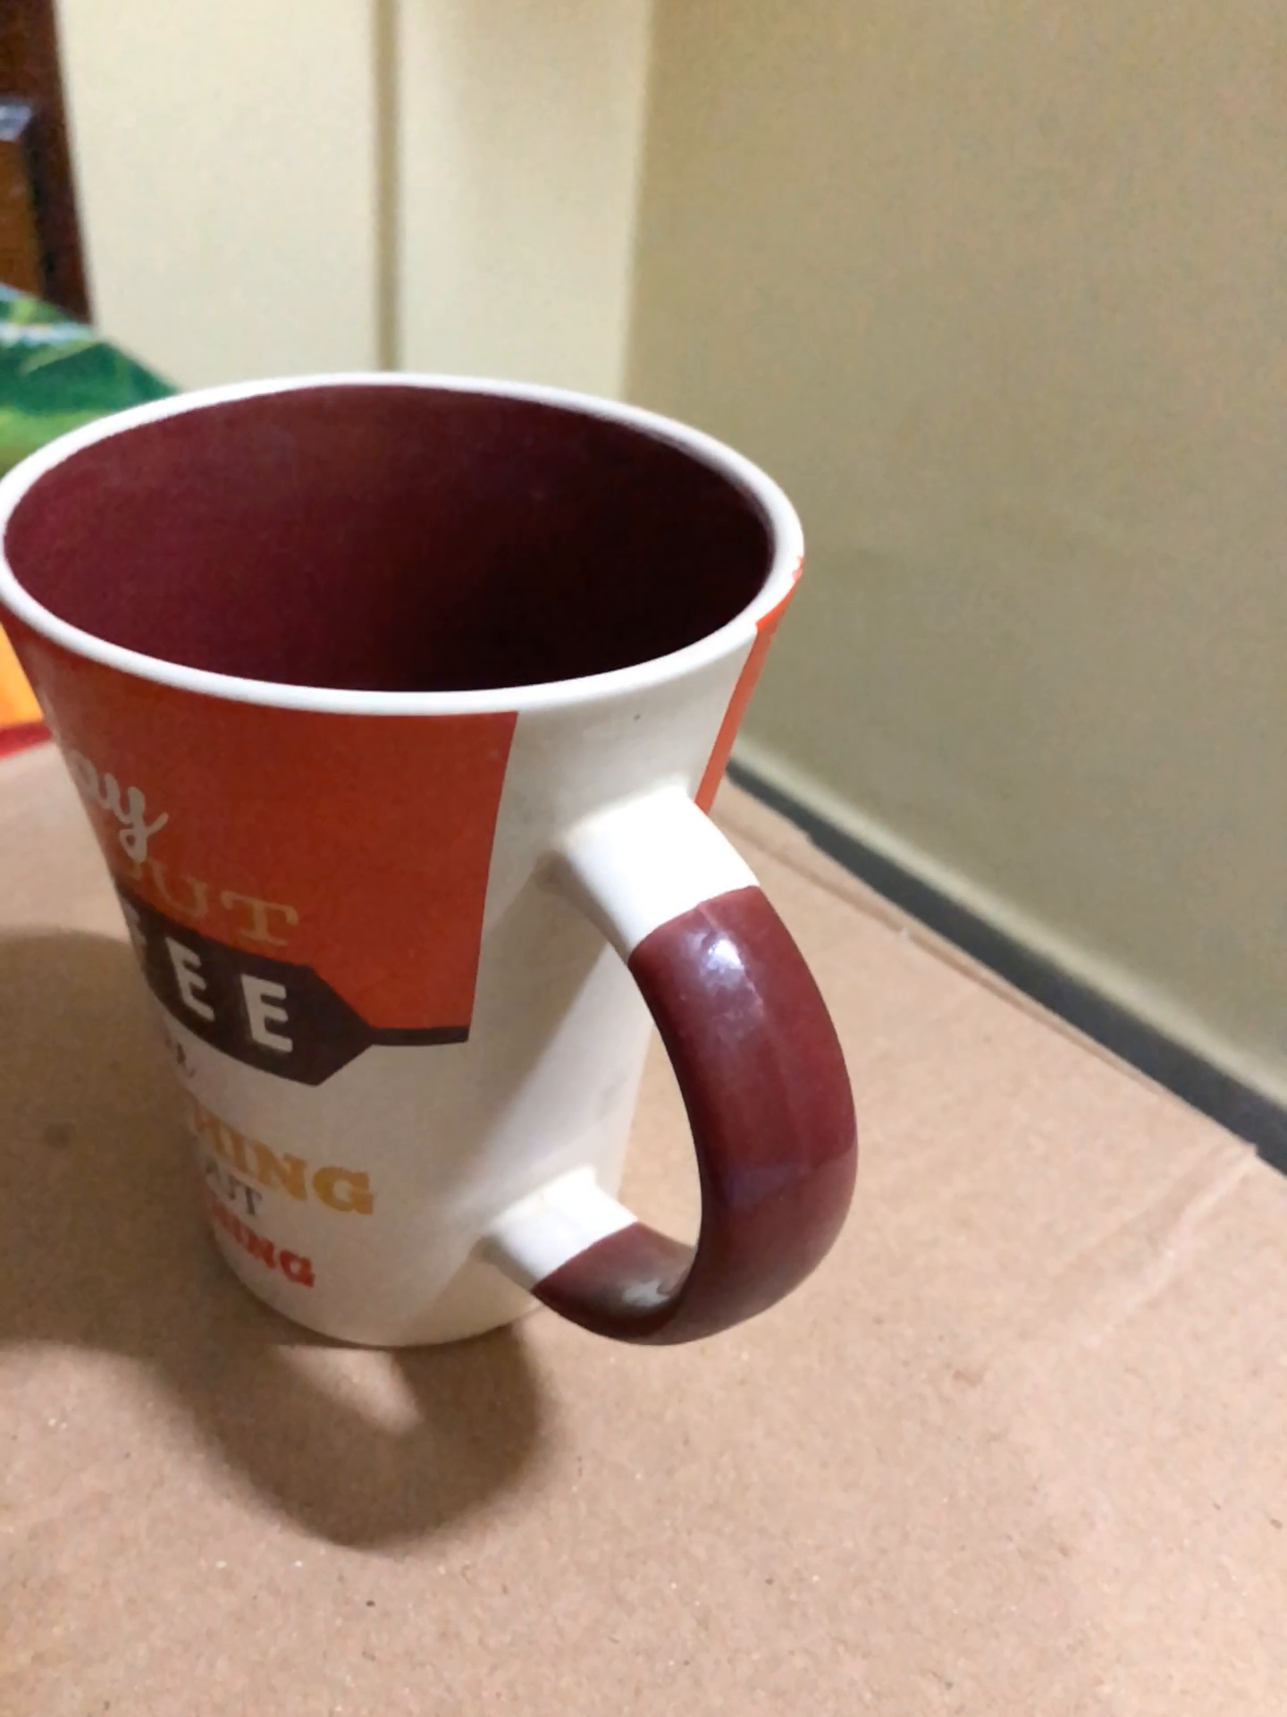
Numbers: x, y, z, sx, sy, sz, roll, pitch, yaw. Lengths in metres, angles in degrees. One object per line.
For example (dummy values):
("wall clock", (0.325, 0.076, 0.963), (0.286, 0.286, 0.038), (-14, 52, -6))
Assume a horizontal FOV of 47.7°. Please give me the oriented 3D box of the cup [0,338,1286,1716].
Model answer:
("cup", (-0.017, 0.005, 0.194), (0.100, 0.109, 0.130), (-17, 38, -33))
